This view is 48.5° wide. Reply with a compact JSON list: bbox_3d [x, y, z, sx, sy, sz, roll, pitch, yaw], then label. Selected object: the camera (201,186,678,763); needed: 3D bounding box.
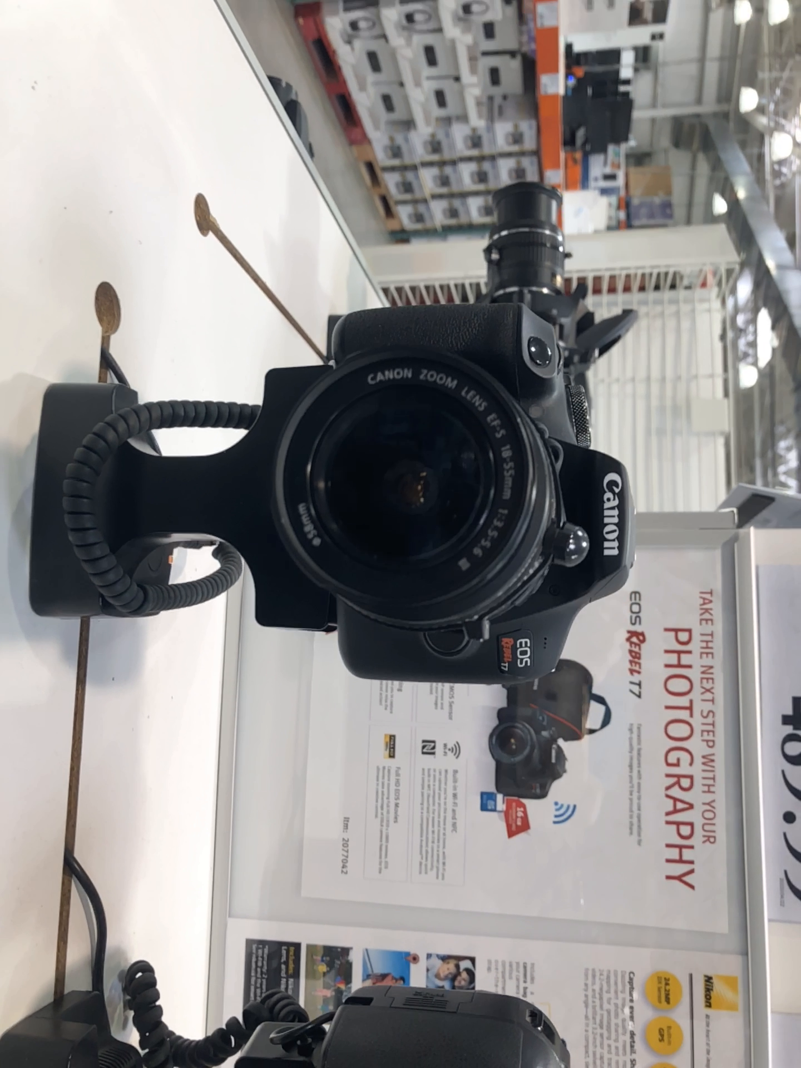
[{"bbox_3d":[0.022,-0.010,0.282,0.150,0.110,0.130,23,67,-79],"label":"camera"}]
